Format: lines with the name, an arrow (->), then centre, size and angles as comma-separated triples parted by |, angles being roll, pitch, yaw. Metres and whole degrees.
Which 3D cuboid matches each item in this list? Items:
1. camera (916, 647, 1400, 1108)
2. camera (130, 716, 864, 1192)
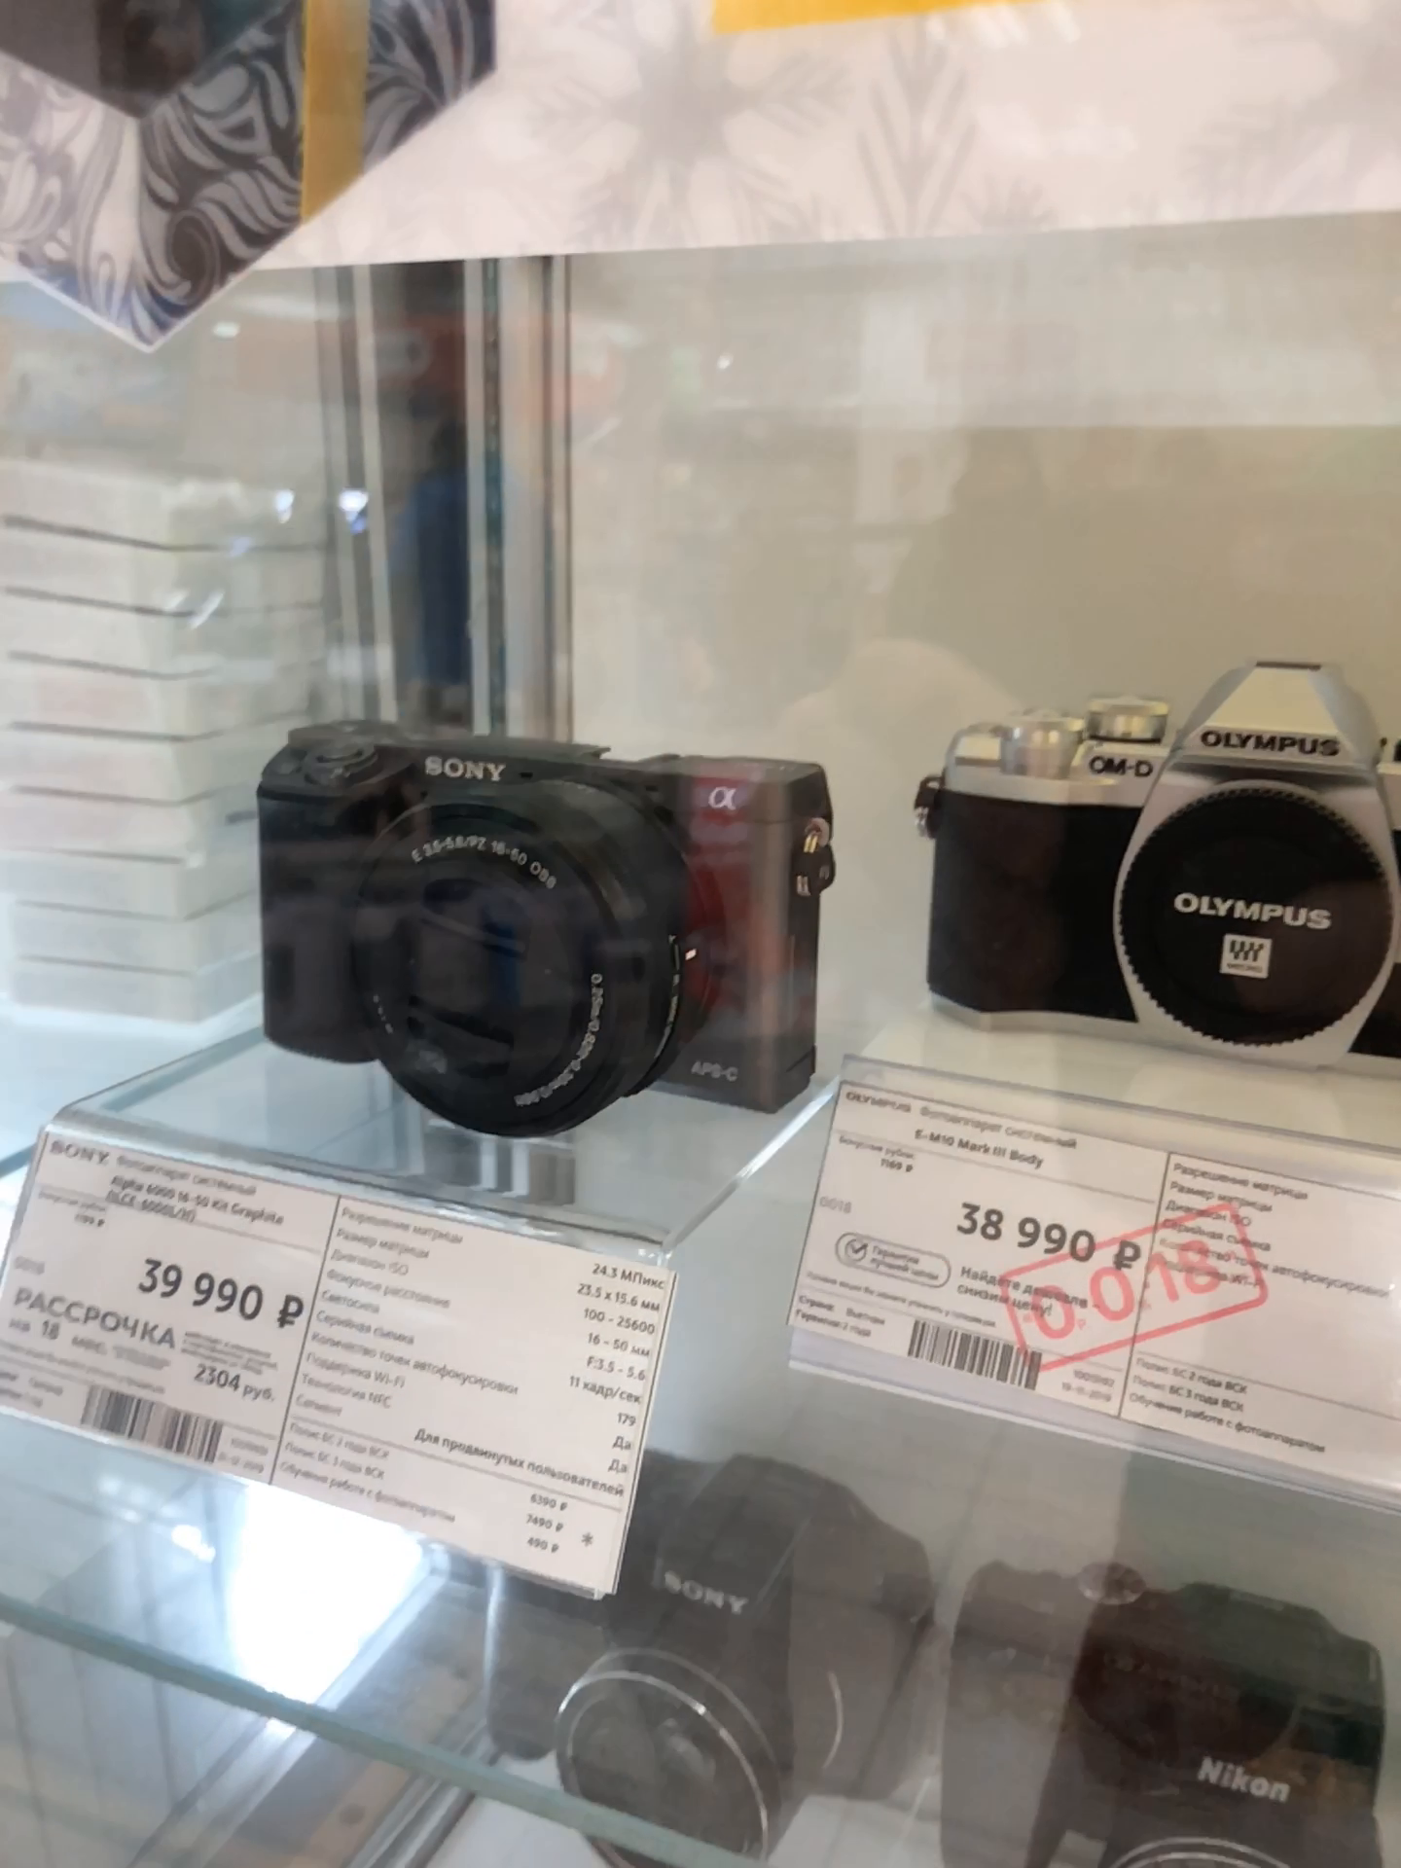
camera -> 0.123, -0.021, 0.361 | 0.122, 0.081, 0.087 | 7, 15, 24
camera -> -0.040, -0.003, 0.319 | 0.130, 0.070, 0.066 | 7, 15, 24
